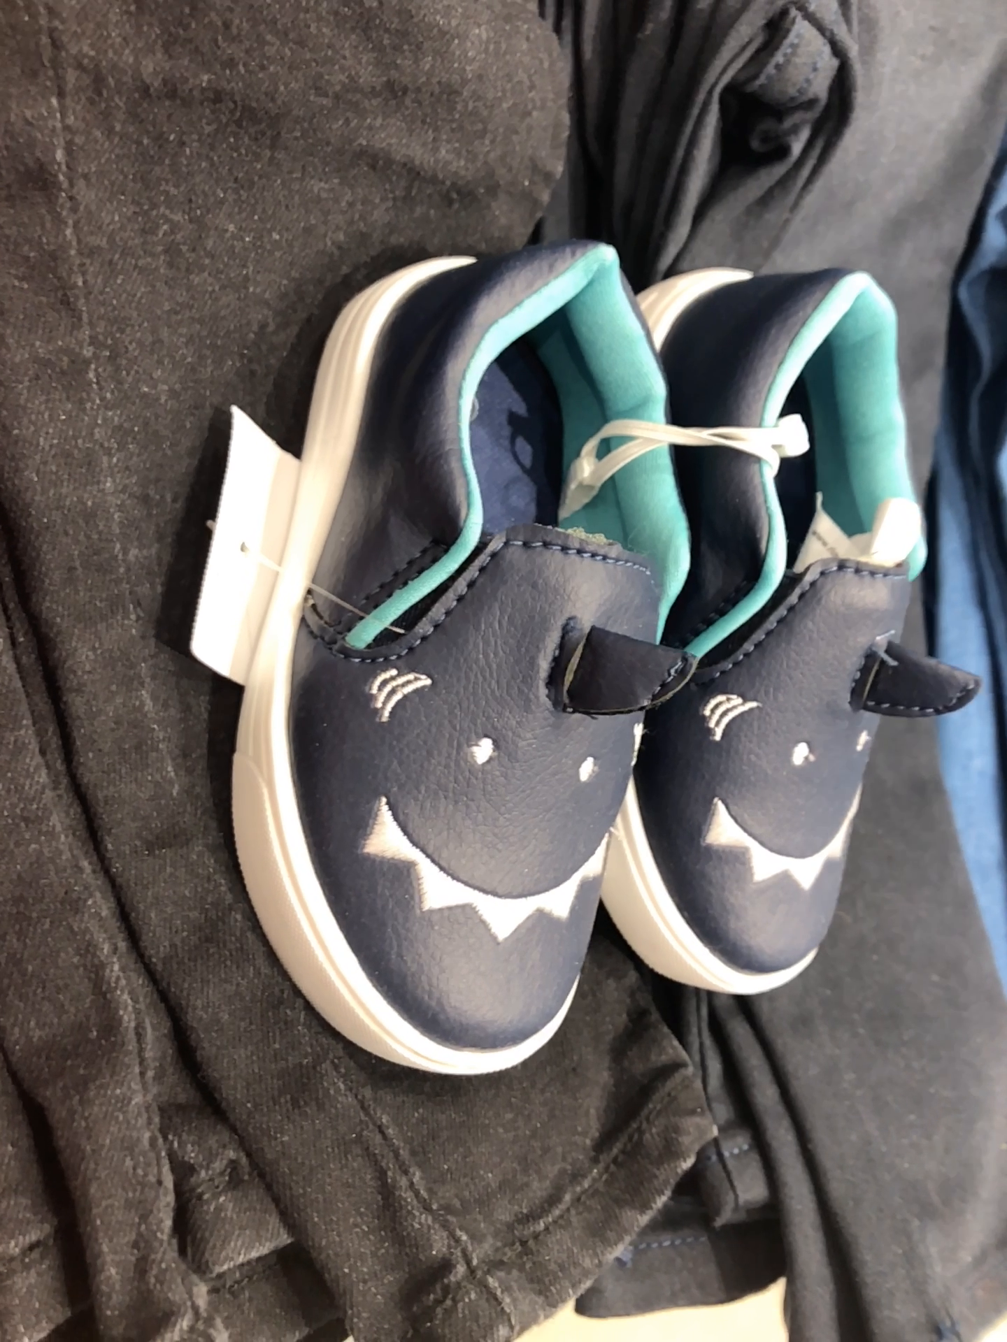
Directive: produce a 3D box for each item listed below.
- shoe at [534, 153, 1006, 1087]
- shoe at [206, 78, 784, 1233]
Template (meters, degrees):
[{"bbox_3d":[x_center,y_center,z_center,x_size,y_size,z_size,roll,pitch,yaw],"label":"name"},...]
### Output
[{"bbox_3d":[0.061,-0.010,0.226,0.081,0.050,0.150,-7,90,-43],"label":"shoe"},{"bbox_3d":[0.001,-0.001,0.191,0.081,0.050,0.150,6,81,-42],"label":"shoe"}]
